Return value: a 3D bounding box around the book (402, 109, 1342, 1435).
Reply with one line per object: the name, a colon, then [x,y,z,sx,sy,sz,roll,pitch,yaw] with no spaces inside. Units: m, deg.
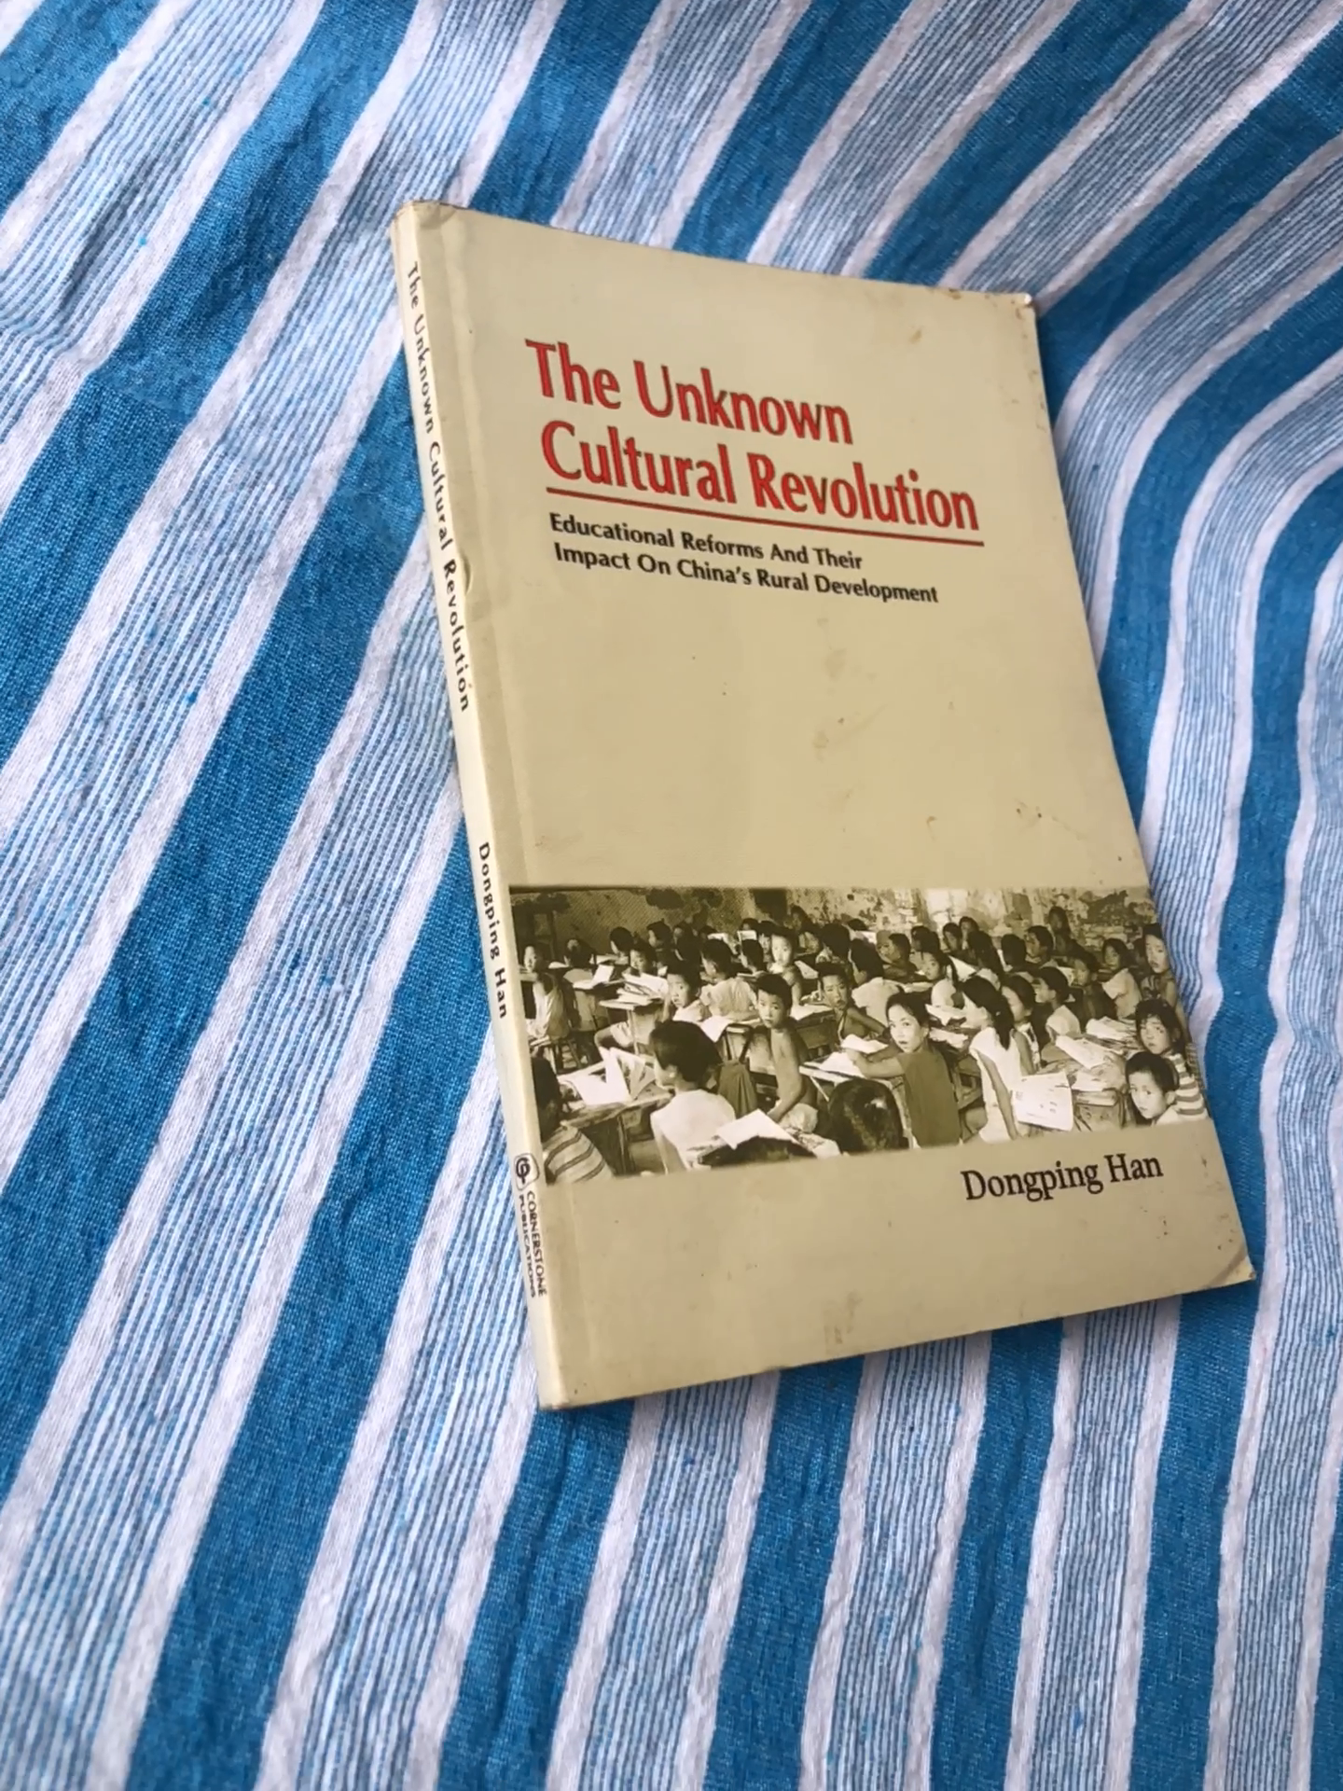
book: [0.034,-0.036,0.269,0.141,0.020,0.230,-2,69,-20]
